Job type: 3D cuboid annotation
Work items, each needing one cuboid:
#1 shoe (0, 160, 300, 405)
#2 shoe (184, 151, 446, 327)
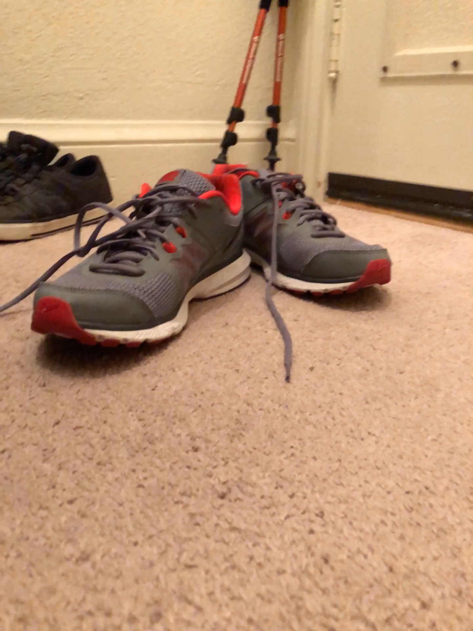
[{"bbox_3d":[-0.056,-0.058,0.454,0.113,0.120,0.298,12,24,25],"label":"shoe"},{"bbox_3d":[0.059,-0.105,0.575,0.113,0.120,0.298,-12,25,-29],"label":"shoe"}]
